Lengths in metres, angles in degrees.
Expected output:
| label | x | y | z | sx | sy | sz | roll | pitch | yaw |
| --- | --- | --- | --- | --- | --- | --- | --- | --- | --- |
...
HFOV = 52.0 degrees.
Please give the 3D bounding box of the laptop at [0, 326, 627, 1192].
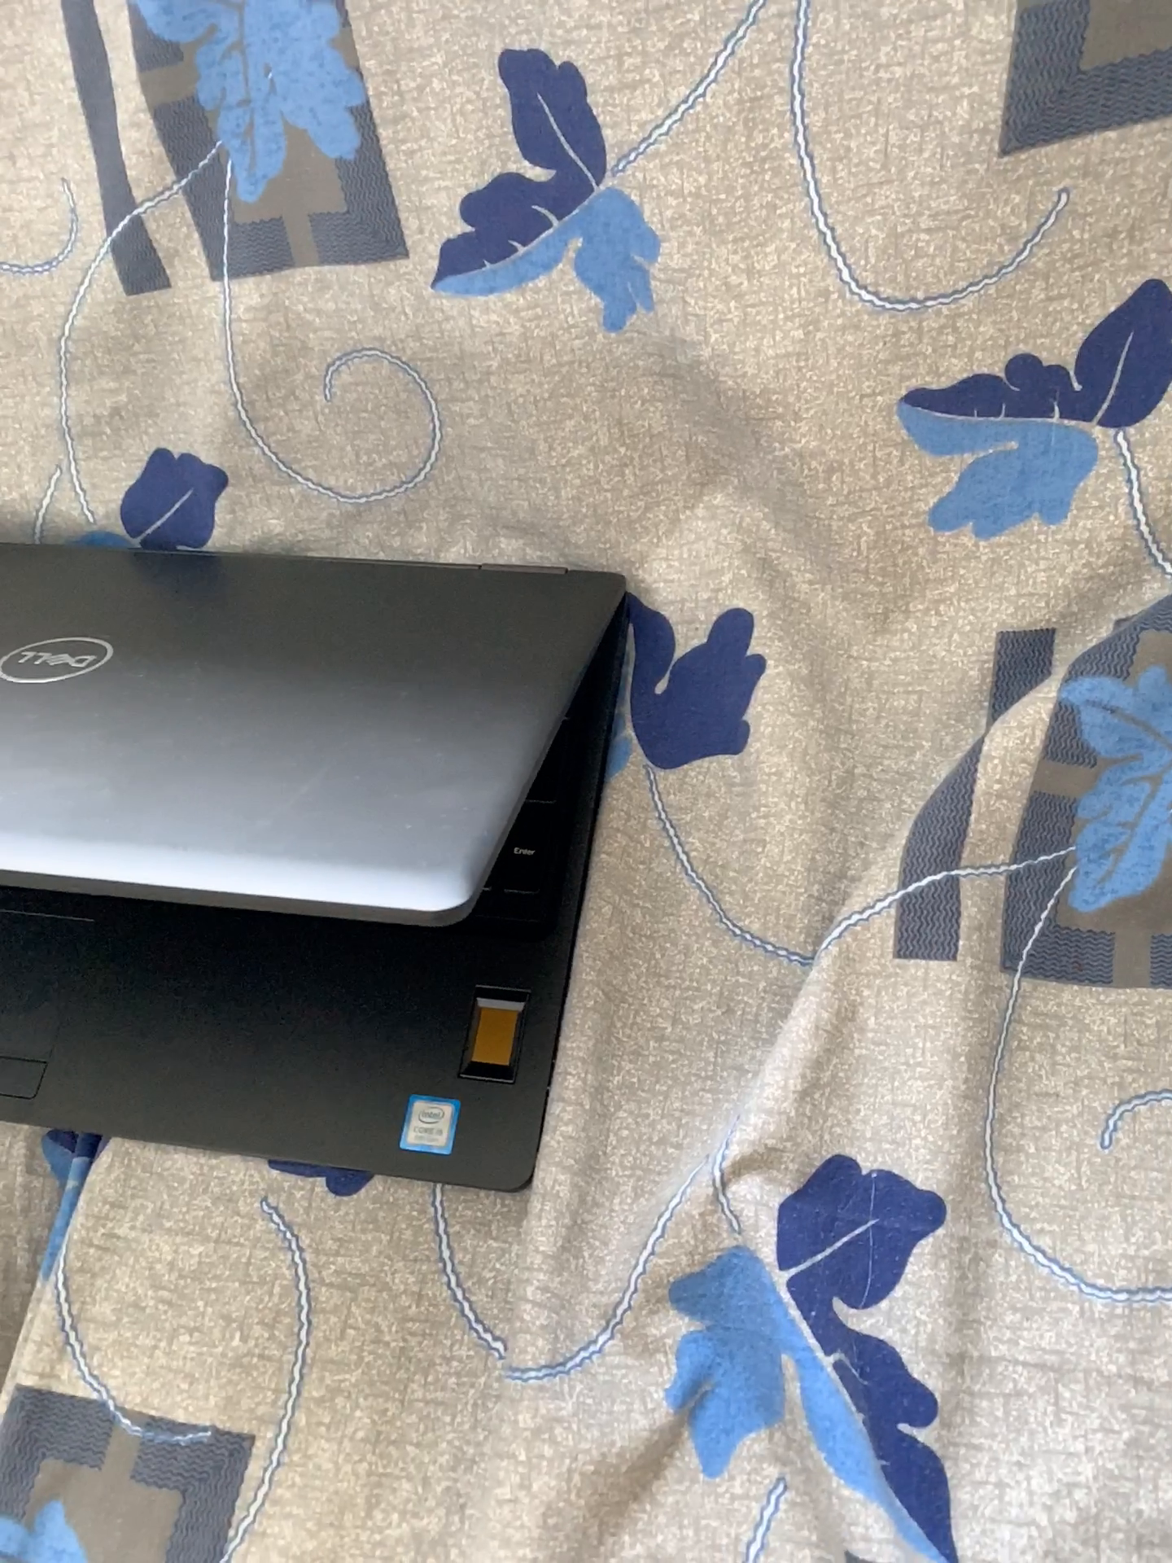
| label | x | y | z | sx | sy | sz | roll | pitch | yaw |
| --- | --- | --- | --- | --- | --- | --- | --- | --- | --- |
| laptop | -0.191 | -0.015 | 0.413 | 0.372 | 0.143 | 0.238 | 4 | 65 | 11 |
